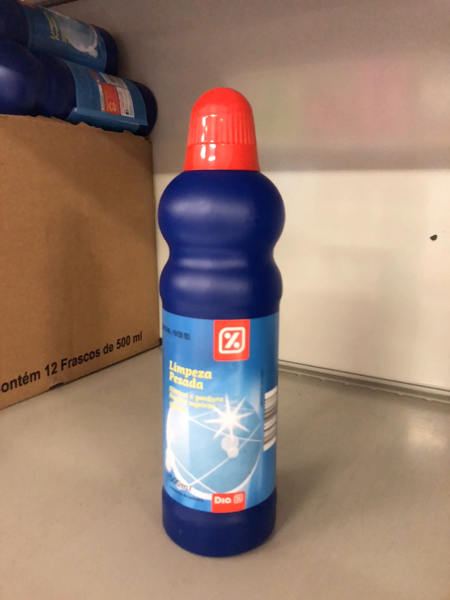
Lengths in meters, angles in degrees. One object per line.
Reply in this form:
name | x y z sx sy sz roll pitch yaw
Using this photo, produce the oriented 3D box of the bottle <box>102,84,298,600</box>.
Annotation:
bottle | -0.007 0.024 0.261 0.070 0.239 0.070 -1 12 0
